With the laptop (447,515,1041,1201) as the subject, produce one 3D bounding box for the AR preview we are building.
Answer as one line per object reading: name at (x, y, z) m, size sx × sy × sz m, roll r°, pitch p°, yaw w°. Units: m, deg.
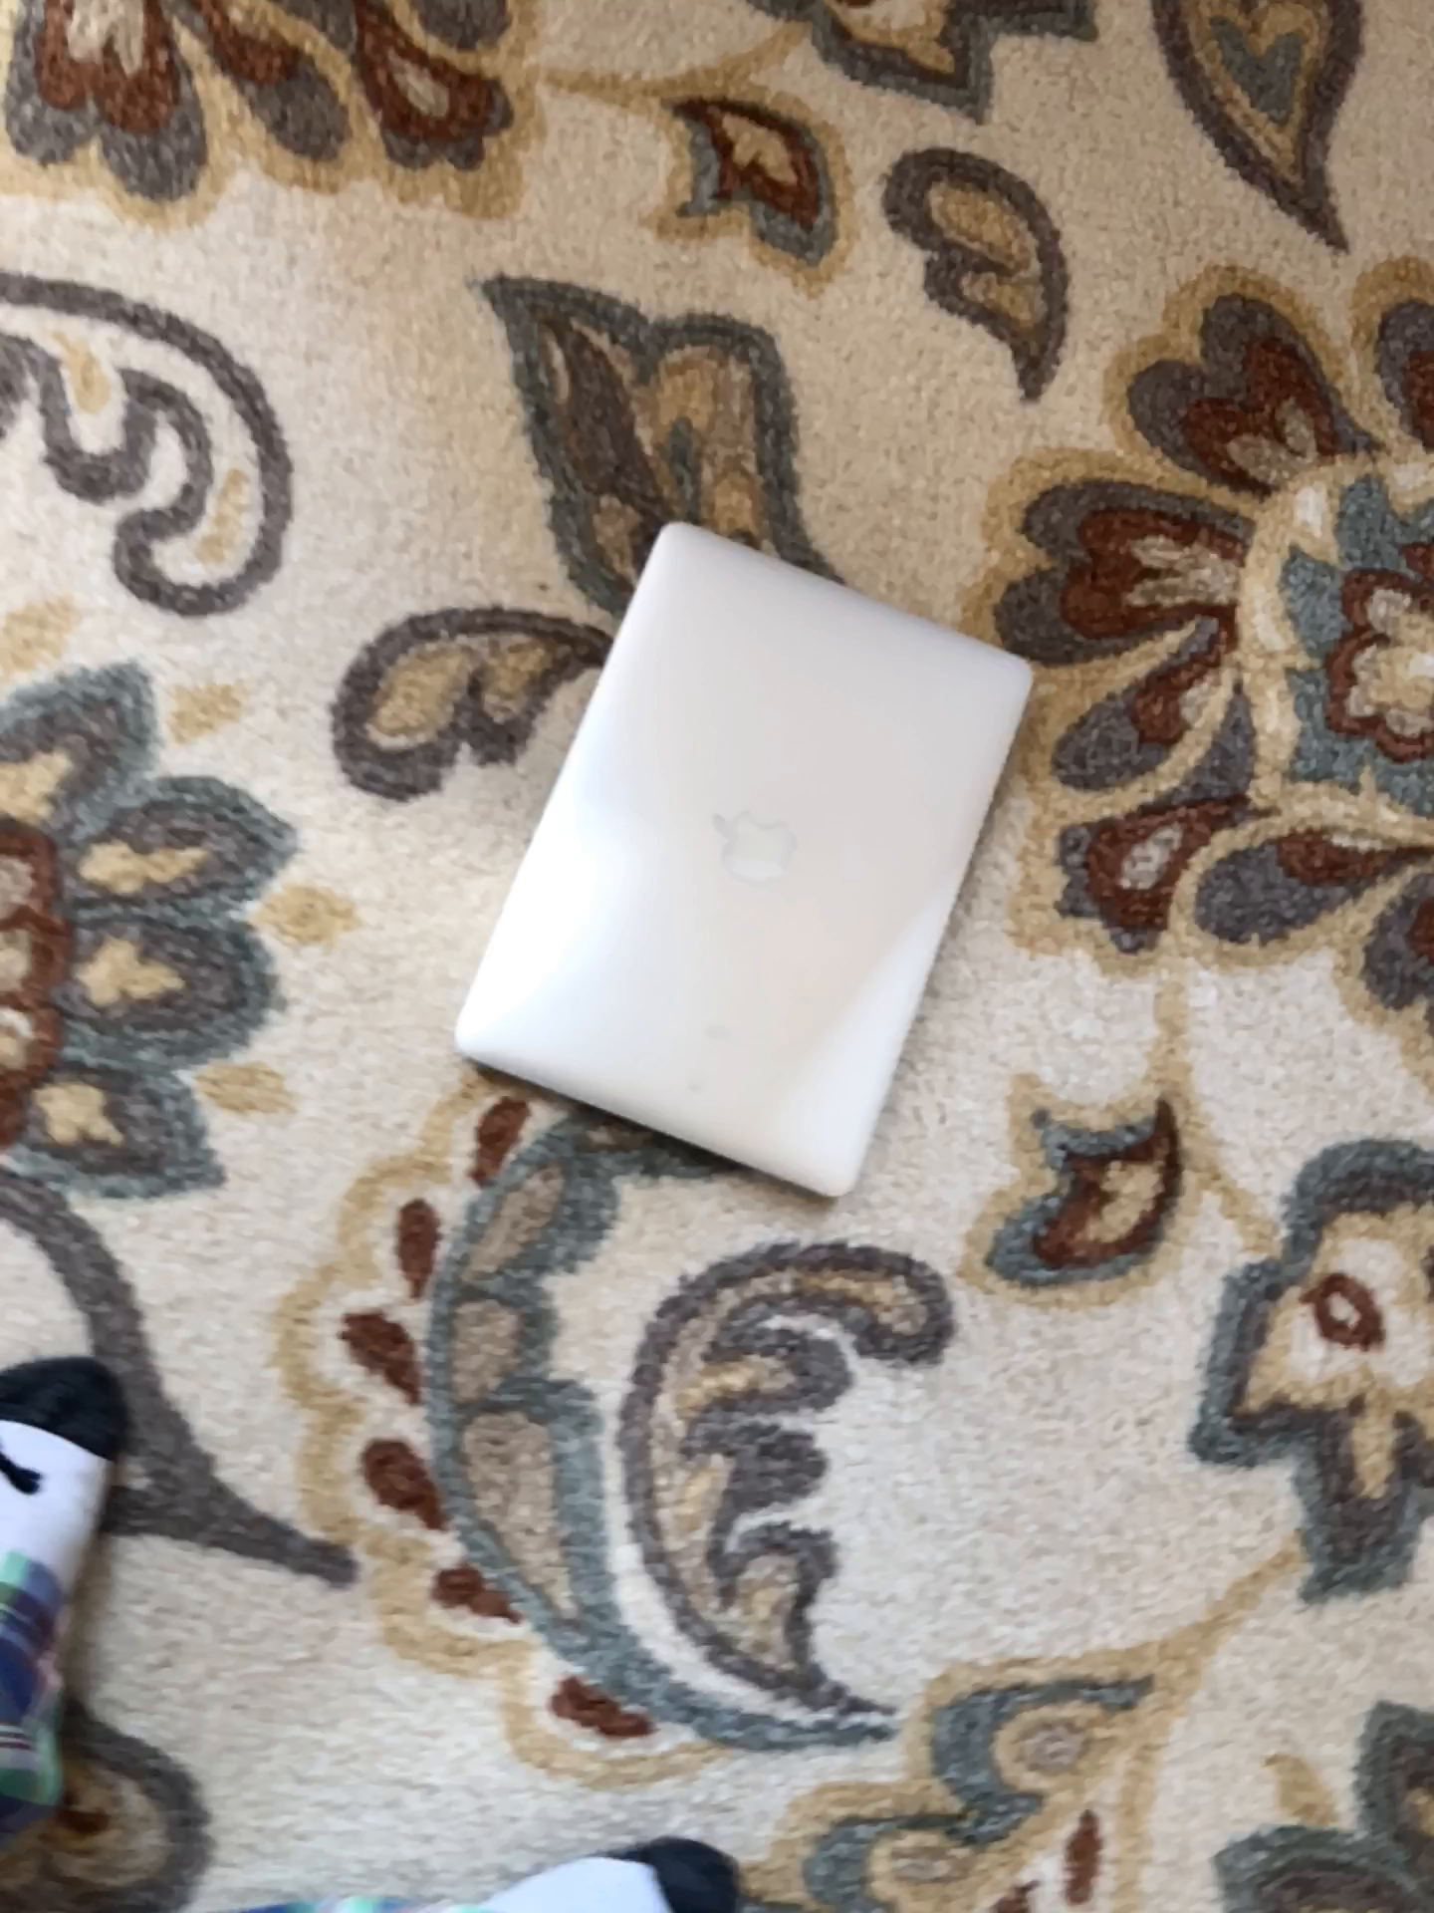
laptop at (0.019, -0.053, 0.801) m, size 0.207 × 0.001 × 0.295 m, roll 21°, pitch 81°, yaw -3°
